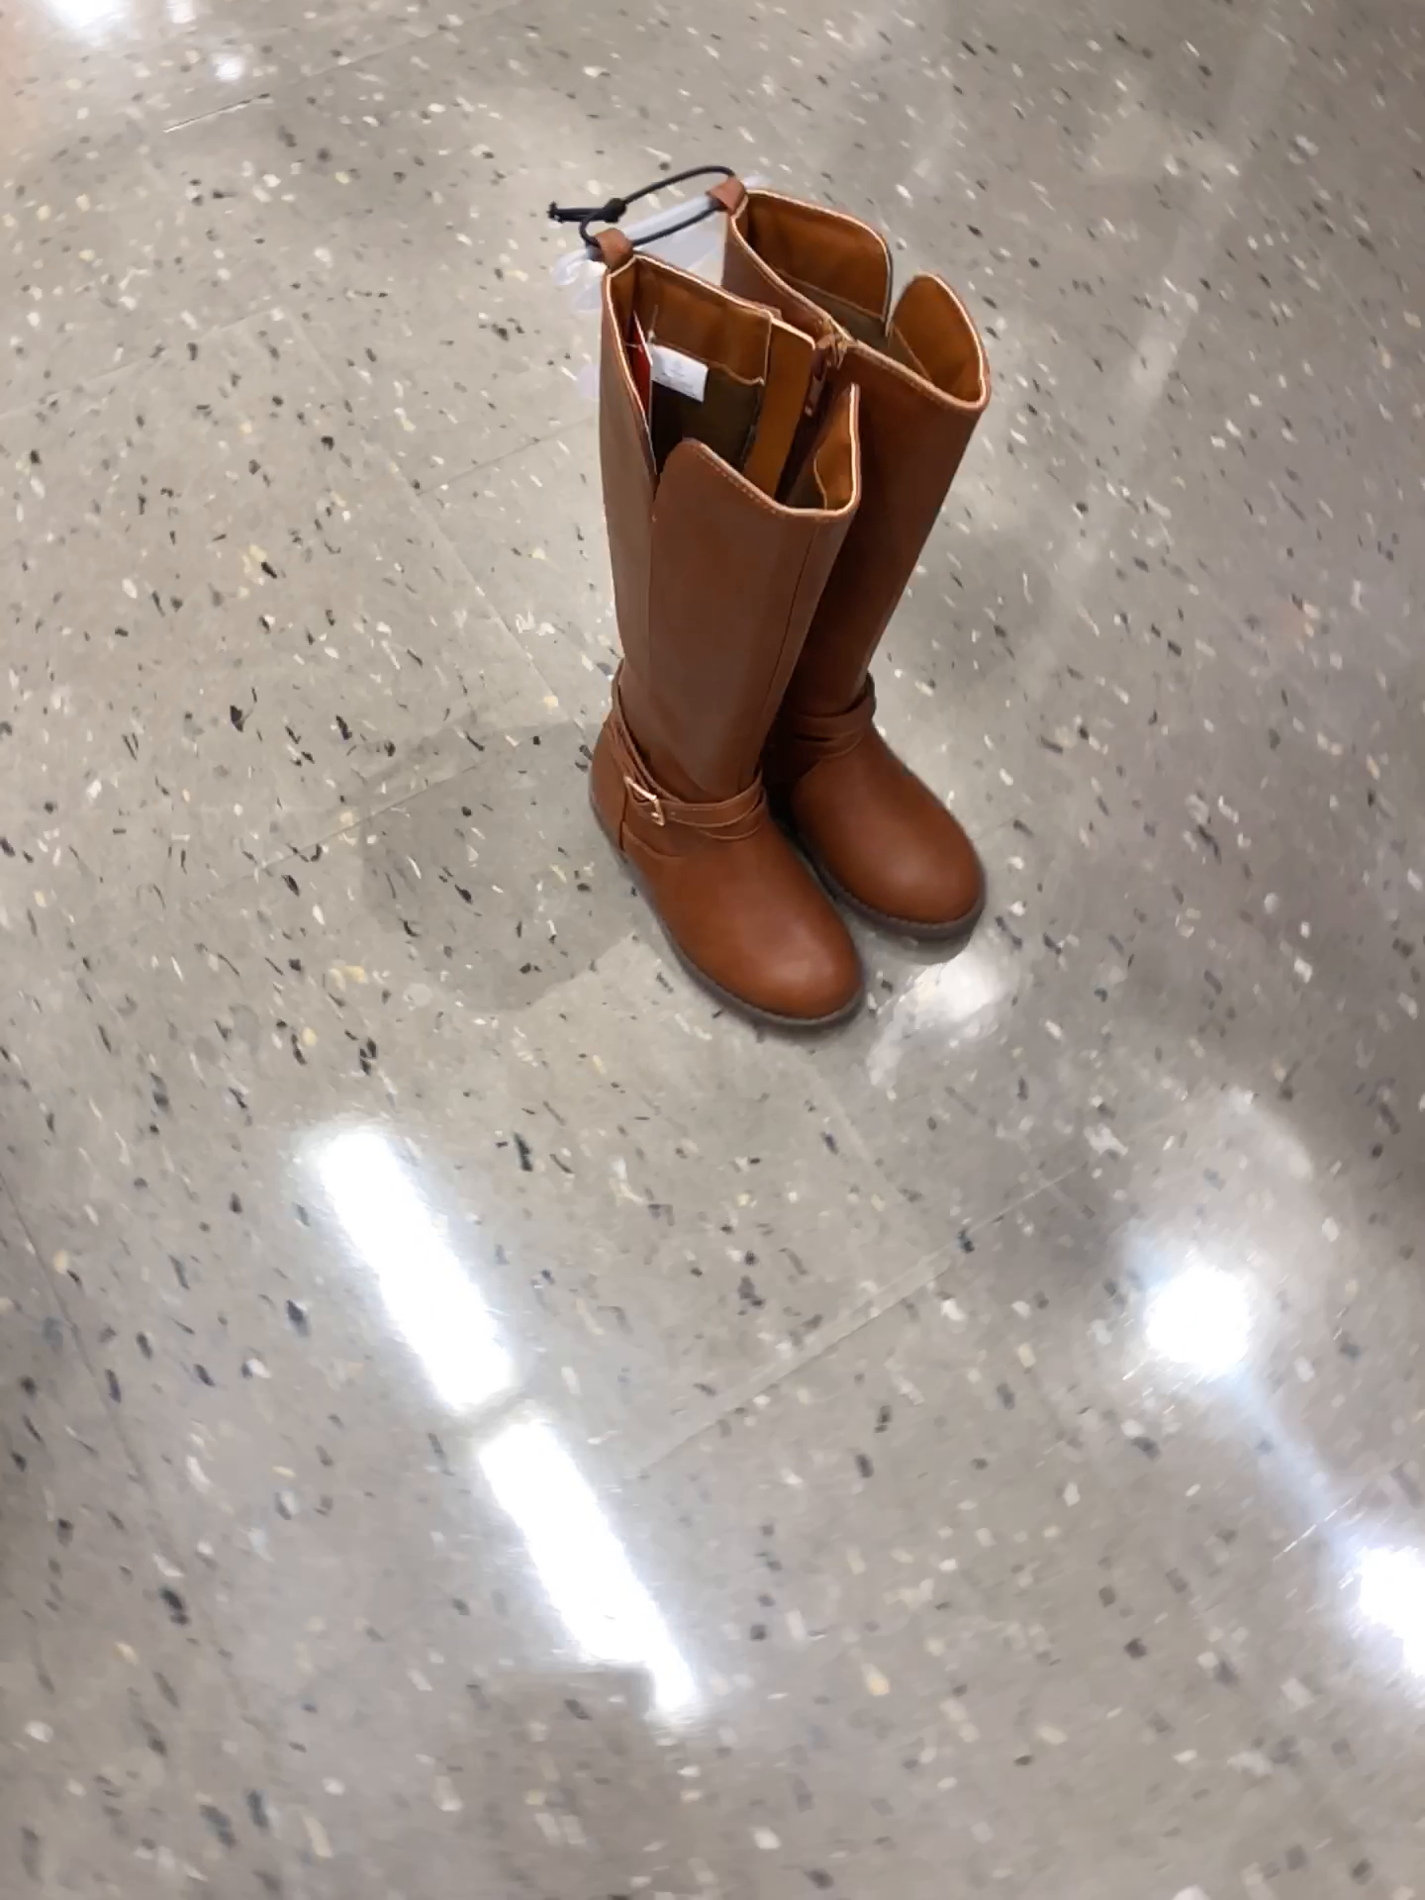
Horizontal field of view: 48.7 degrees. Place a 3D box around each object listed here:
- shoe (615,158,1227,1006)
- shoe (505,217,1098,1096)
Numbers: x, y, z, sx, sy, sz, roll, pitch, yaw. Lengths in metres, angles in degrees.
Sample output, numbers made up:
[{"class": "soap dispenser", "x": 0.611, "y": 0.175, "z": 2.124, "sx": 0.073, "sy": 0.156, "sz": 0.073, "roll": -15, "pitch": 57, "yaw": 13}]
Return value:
[{"class": "shoe", "x": 0.055, "y": -0.118, "z": 0.601, "sx": 0.070, "sy": 0.270, "sz": 0.190, "roll": -40, "pitch": 73, "yaw": -19}, {"class": "shoe", "x": 0.009, "y": -0.085, "z": 0.574, "sx": 0.070, "sy": 0.270, "sz": 0.180, "roll": -36, "pitch": 71, "yaw": -23}]
